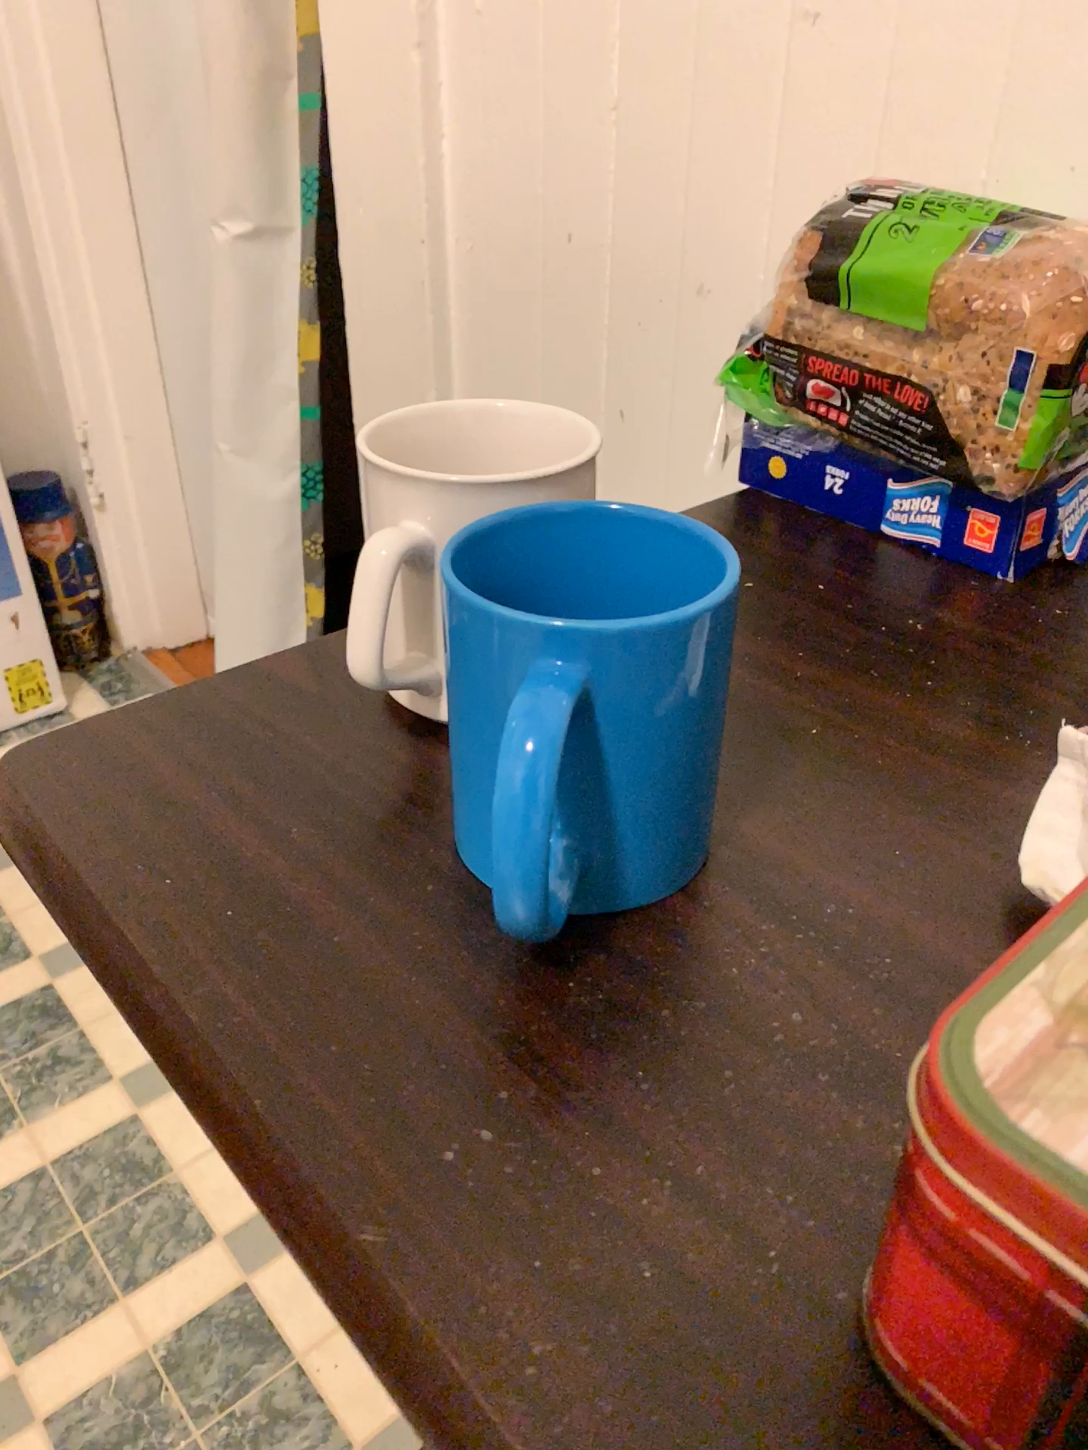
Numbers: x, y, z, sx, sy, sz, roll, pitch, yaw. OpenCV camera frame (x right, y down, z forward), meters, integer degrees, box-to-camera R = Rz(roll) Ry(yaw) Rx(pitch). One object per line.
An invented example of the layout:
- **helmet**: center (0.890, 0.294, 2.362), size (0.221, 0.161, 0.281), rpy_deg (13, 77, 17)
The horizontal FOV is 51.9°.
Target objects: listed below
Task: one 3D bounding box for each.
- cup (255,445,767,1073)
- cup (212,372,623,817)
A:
- **cup**: center (0.002, -0.002, 0.310), size (0.090, 0.099, 0.141), rpy_deg (10, 34, 14)
- **cup**: center (-0.035, -0.054, 0.397), size (0.090, 0.099, 0.131), rpy_deg (11, 34, 16)
